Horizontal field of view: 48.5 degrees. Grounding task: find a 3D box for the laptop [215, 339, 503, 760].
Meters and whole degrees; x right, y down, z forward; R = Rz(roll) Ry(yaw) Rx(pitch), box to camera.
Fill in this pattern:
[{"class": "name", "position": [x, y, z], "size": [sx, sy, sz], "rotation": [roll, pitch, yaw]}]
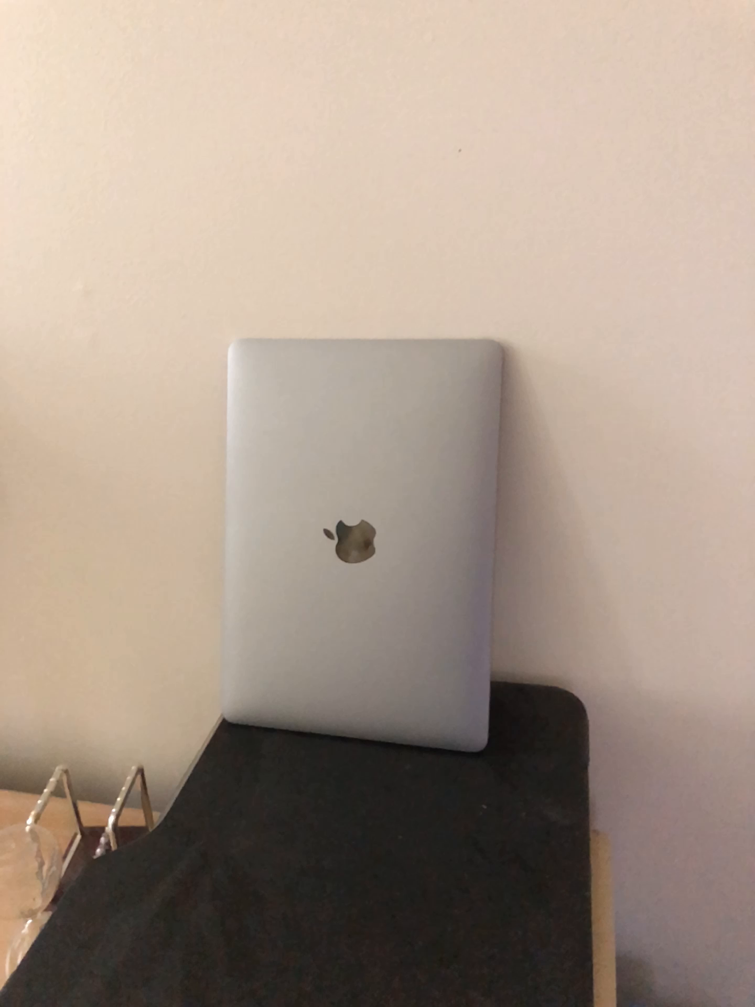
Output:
[{"class": "laptop", "position": [-0.018, 0.029, 0.578], "size": [0.196, 0.275, 0.002], "rotation": [3, 3, 14]}]
